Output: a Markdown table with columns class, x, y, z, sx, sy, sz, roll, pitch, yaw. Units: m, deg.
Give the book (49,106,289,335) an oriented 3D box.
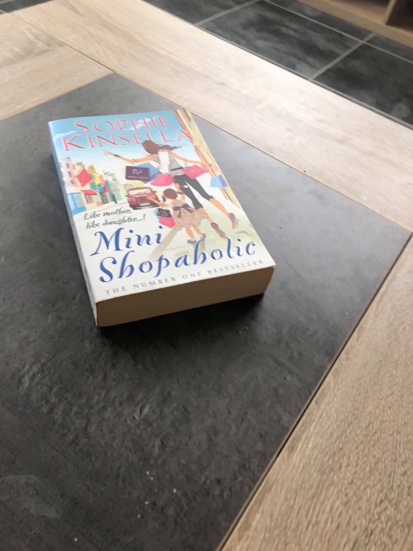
| class | x | y | z | sx | sy | sz | roll | pitch | yaw |
| --- | --- | --- | --- | --- | --- | --- | --- | --- | --- |
| book | -0.041 | -0.060 | 0.362 | 0.132 | 0.036 | 0.201 | -11 | 53 | -18 |
